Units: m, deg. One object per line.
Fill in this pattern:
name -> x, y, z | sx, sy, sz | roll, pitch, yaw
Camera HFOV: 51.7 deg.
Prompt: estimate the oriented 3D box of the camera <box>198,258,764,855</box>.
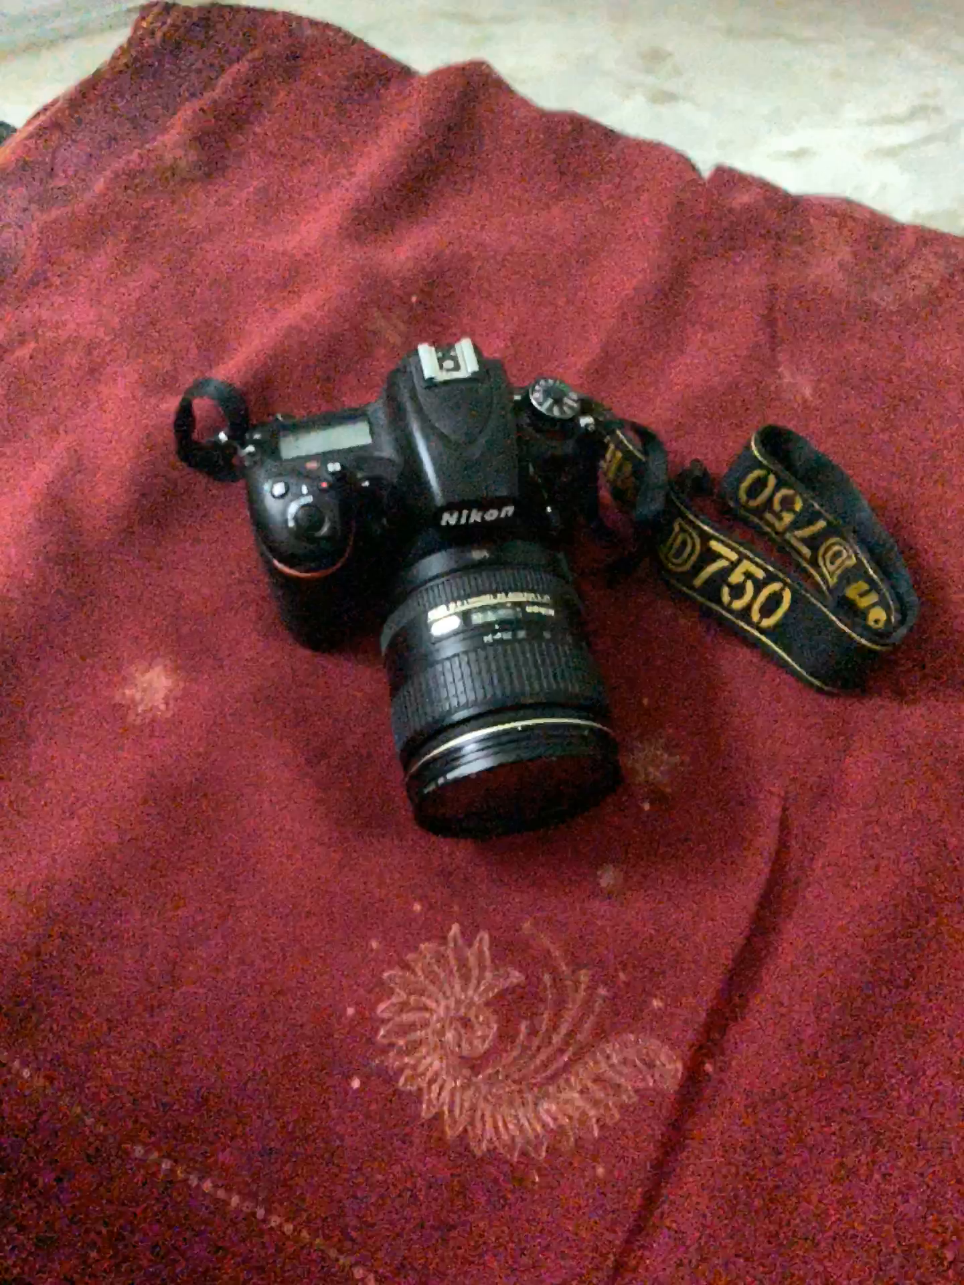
camera -> -0.010, -0.031, 0.358 | 0.150, 0.110, 0.160 | -9, 60, -5
